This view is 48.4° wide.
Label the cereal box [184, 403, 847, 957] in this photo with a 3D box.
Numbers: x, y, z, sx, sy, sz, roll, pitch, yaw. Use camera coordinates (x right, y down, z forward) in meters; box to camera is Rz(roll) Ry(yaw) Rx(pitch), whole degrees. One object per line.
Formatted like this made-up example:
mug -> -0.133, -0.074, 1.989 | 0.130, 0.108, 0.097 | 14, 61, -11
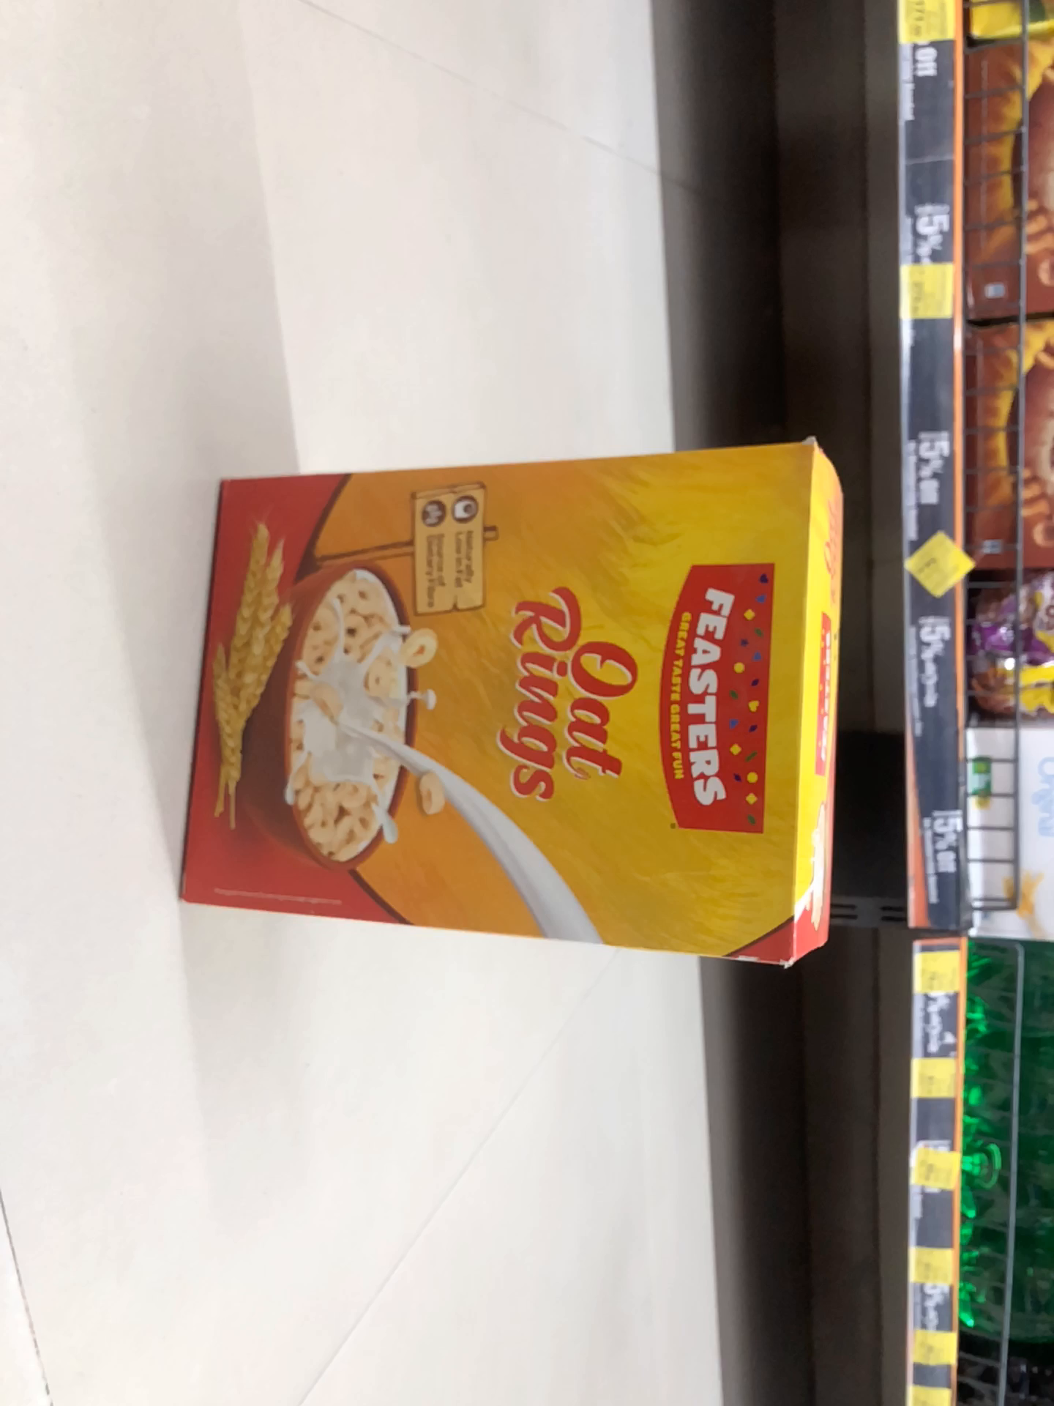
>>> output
cereal box -> -0.003, -0.005, 0.426 | 0.070, 0.219, 0.170 | 24, 68, -67
